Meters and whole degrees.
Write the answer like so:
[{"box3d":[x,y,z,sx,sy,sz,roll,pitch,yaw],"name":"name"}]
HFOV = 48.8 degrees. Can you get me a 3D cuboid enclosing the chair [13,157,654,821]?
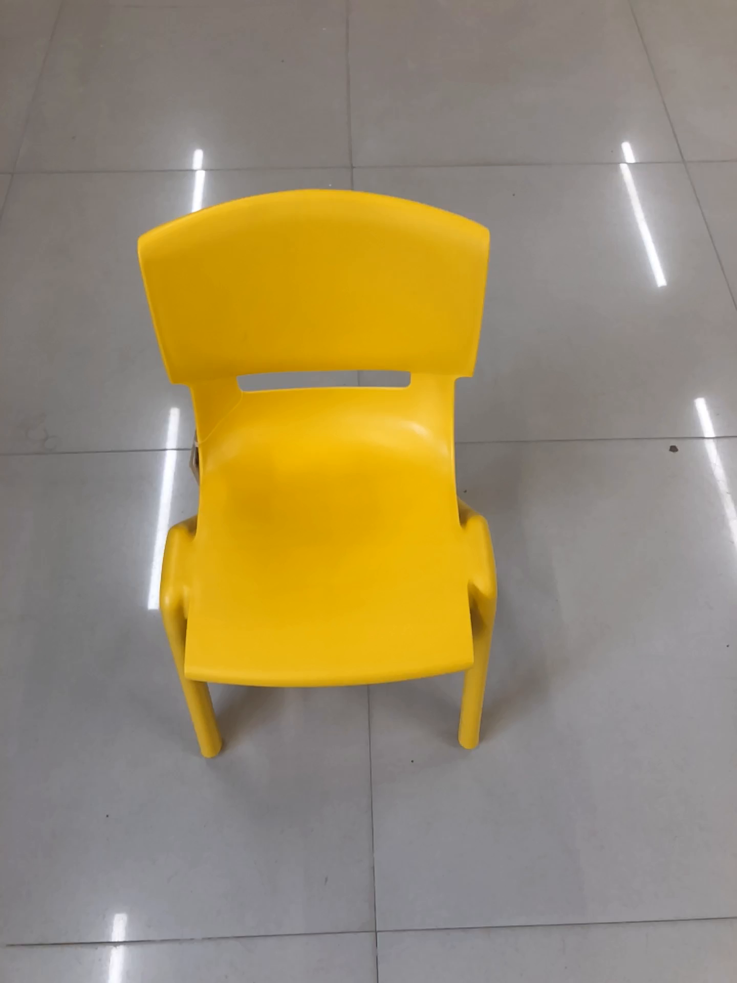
[{"box3d":[-0.031,0.017,0.744,0.360,0.398,0.452,-3,59,-2],"name":"chair"}]
